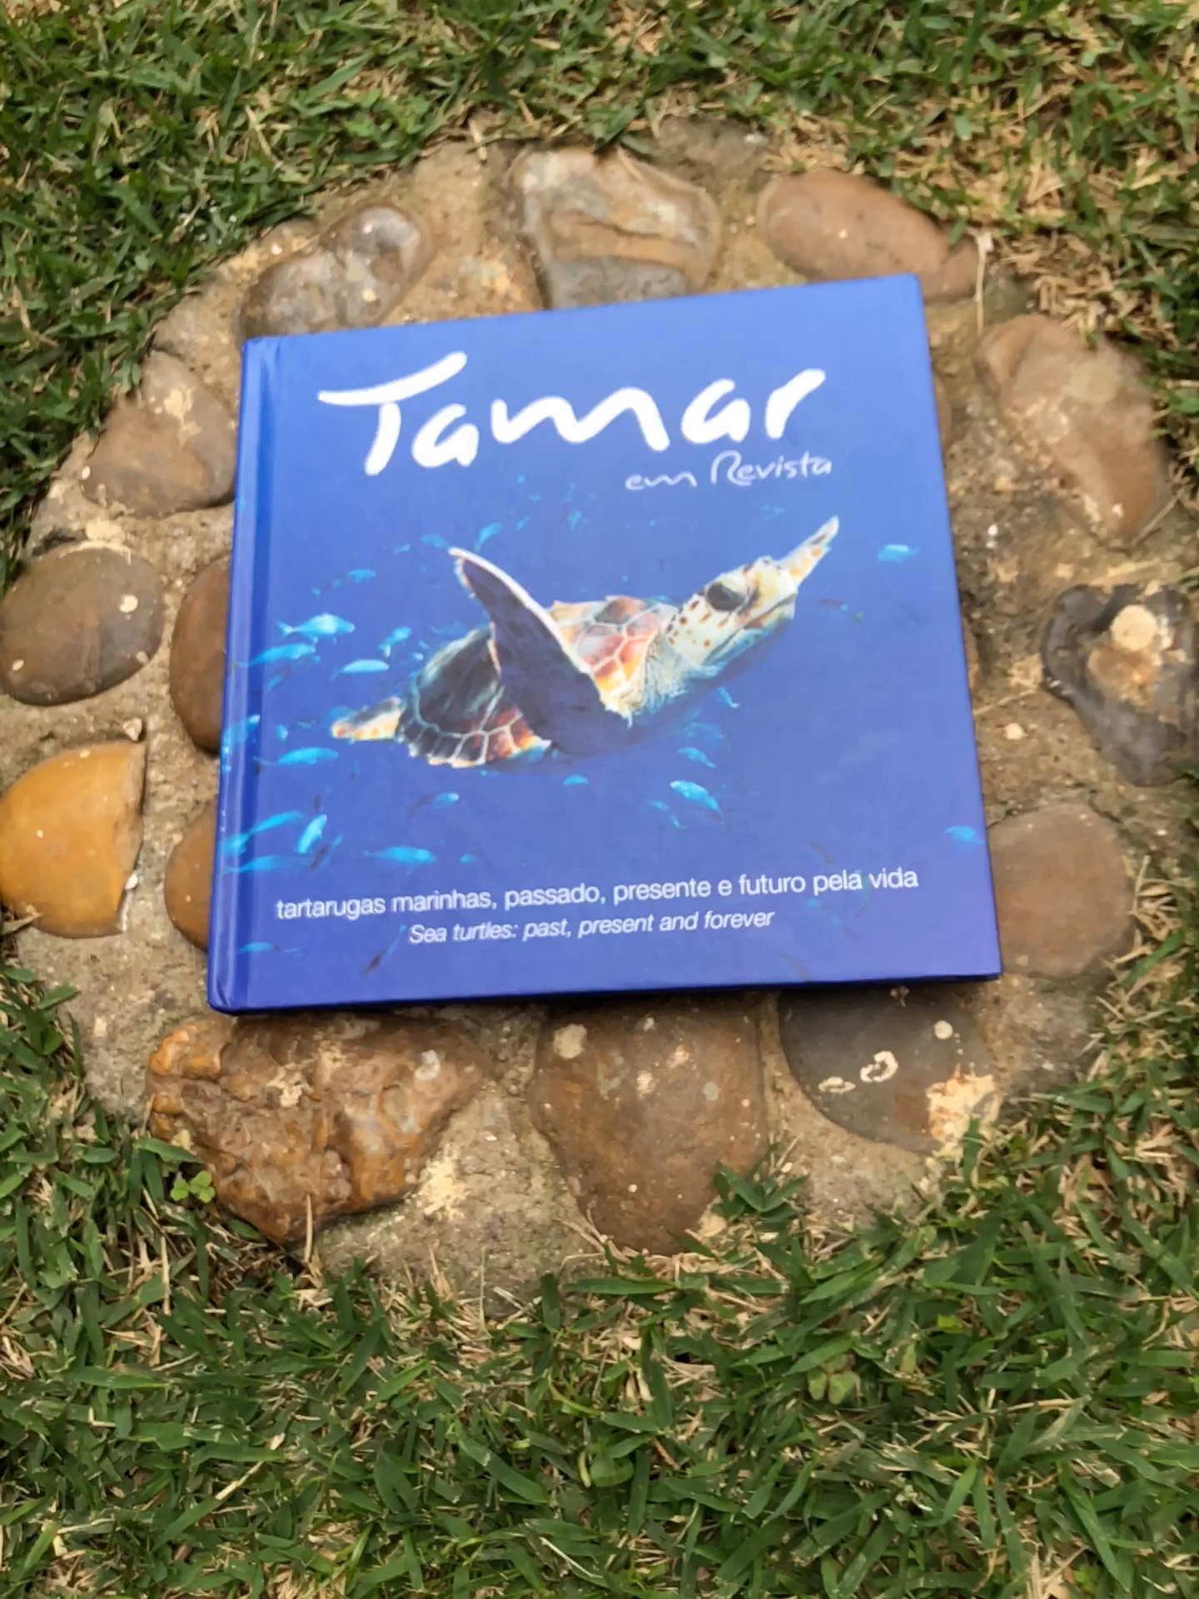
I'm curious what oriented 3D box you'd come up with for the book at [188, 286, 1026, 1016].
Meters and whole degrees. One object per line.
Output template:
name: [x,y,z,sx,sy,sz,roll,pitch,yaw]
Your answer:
book: [-0.001,-0.036,0.317,0.179,0.020,0.167,-3,73,7]
